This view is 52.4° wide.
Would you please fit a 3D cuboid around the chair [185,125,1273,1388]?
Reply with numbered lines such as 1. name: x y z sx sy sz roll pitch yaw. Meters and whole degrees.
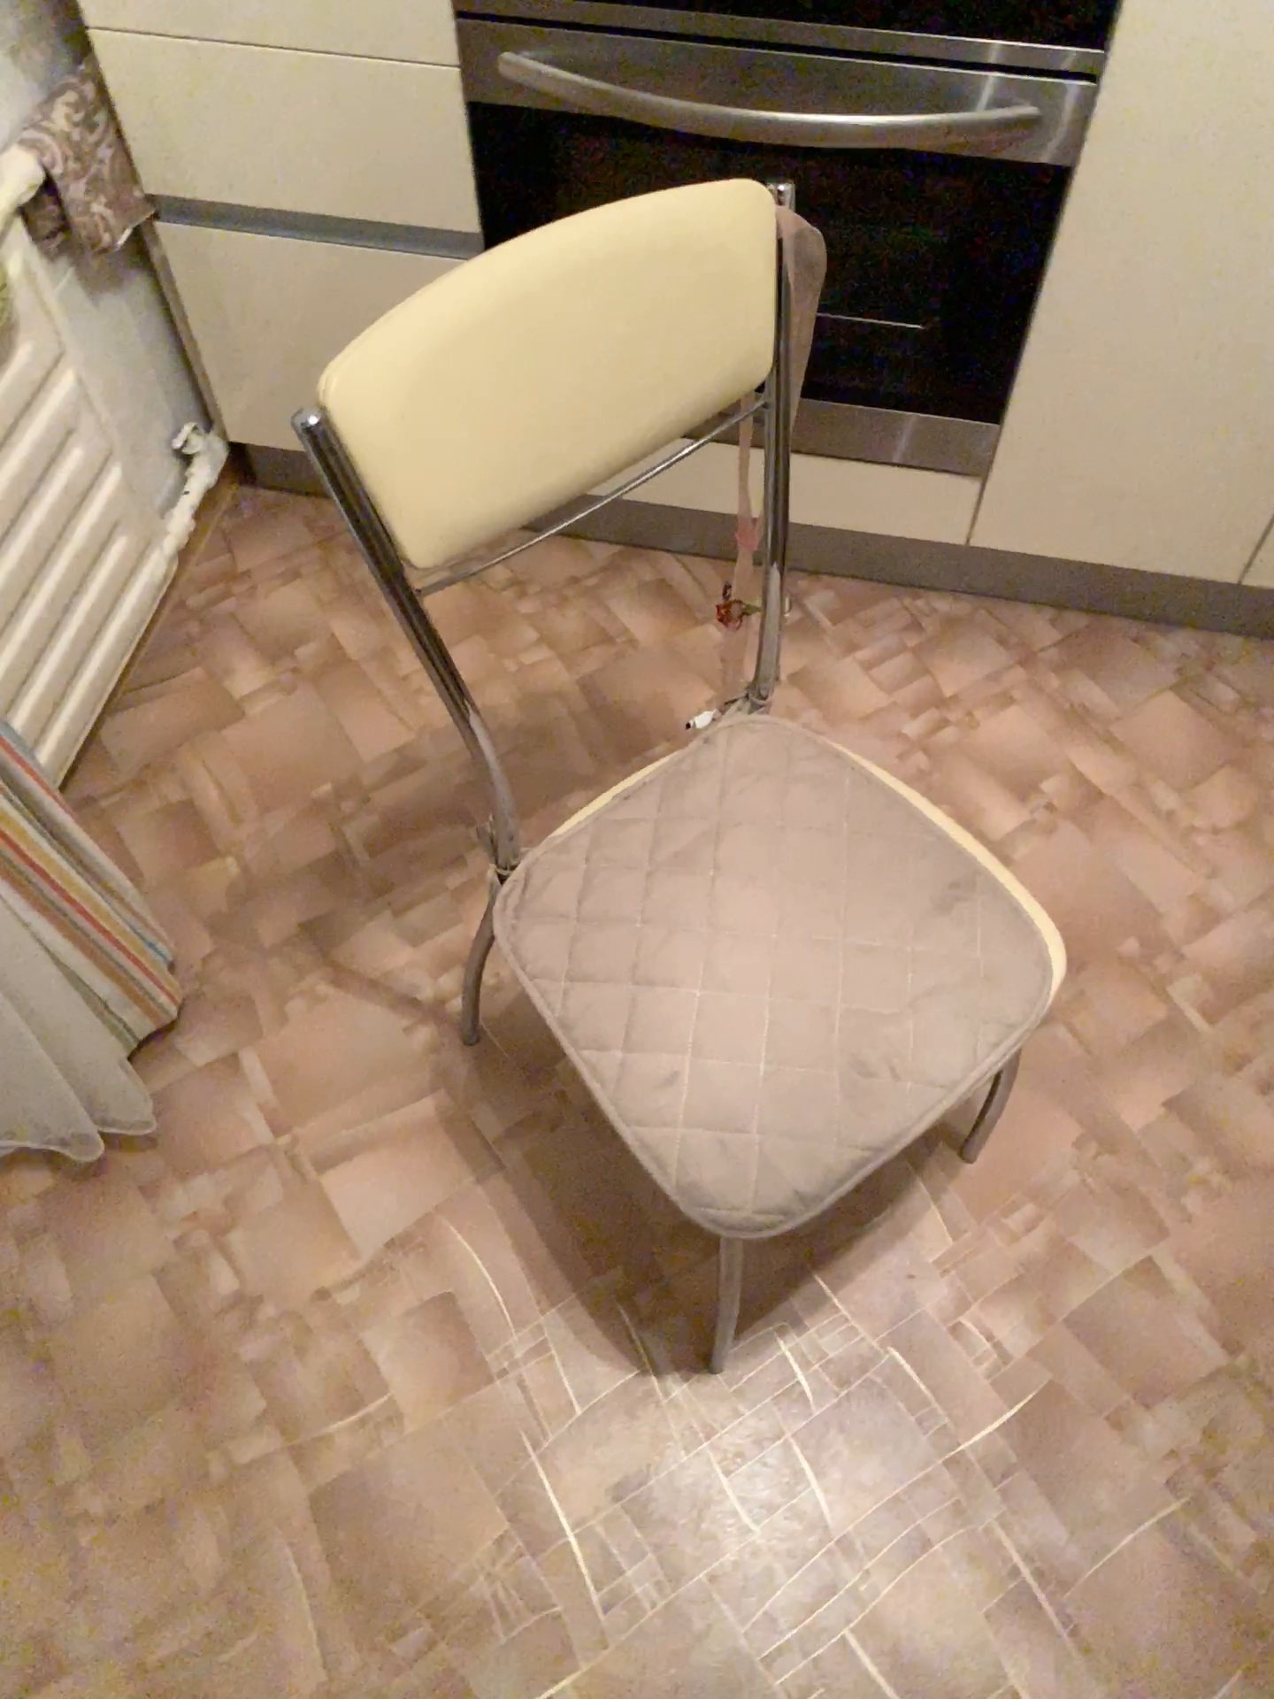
1. chair: 0.057 0.020 1.036 0.385 0.855 0.492 -34 63 -19
